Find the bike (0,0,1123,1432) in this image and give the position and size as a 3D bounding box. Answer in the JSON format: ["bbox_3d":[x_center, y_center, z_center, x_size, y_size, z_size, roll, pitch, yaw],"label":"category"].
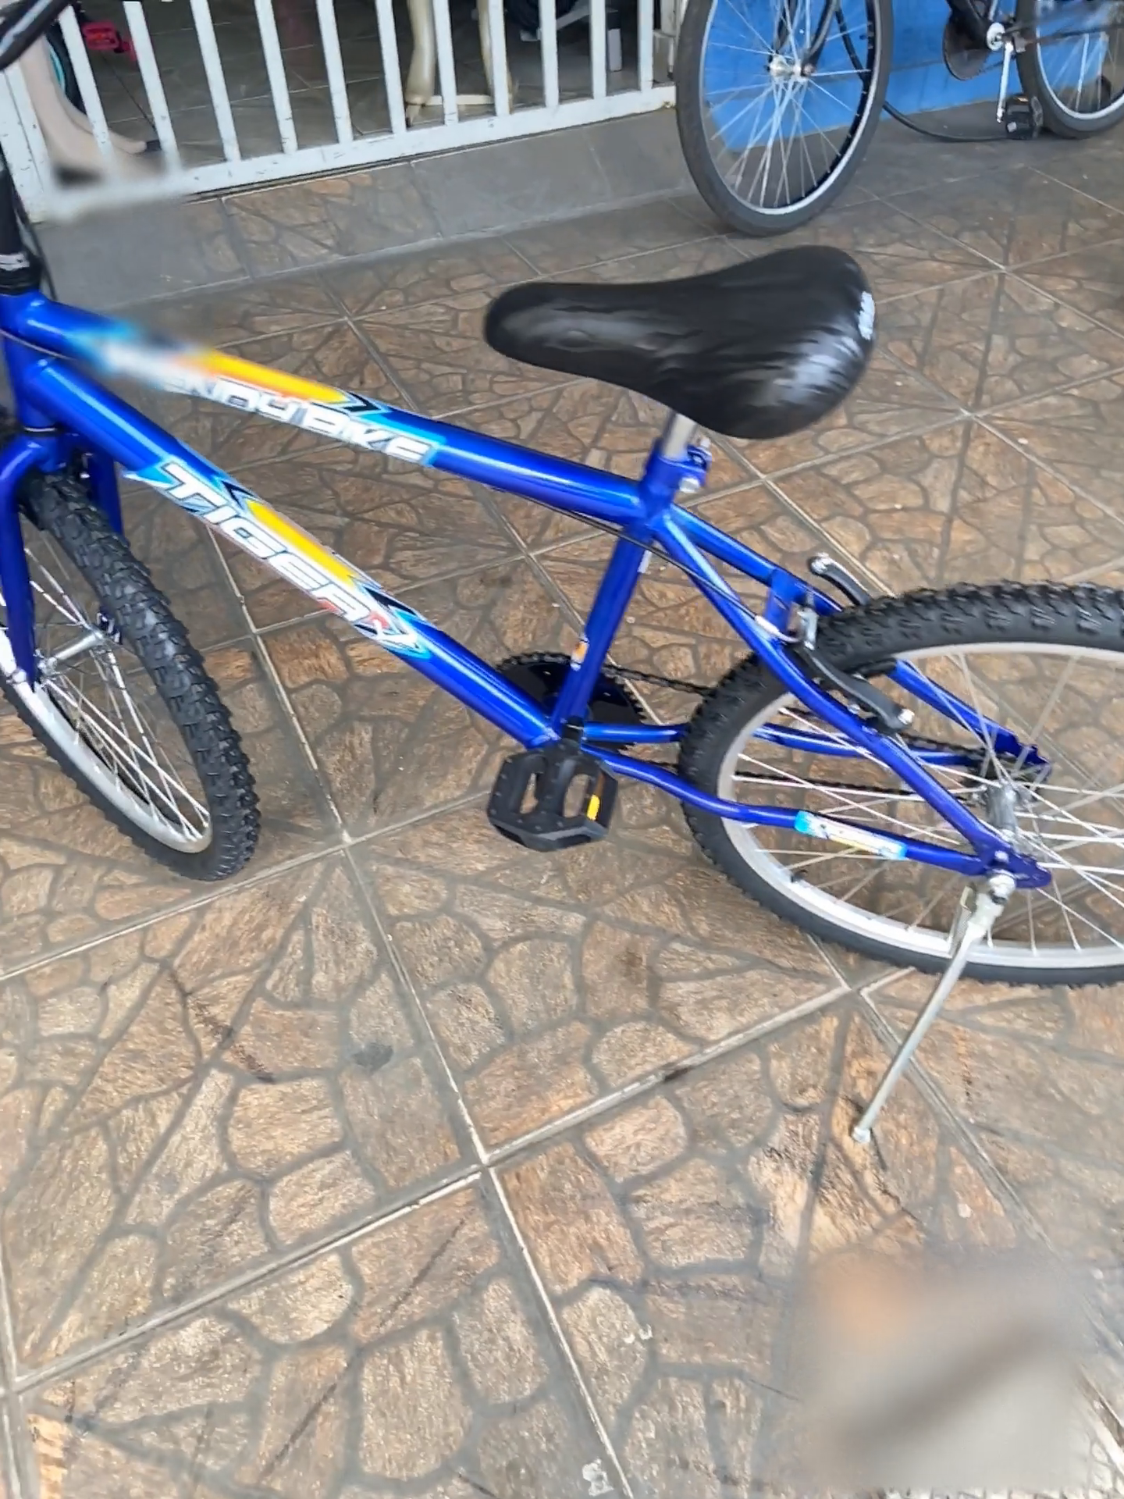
[{"bbox_3d":[-0.036,-0.179,0.990,1.487,0.923,0.626,13,46,12],"label":"bike"}]
